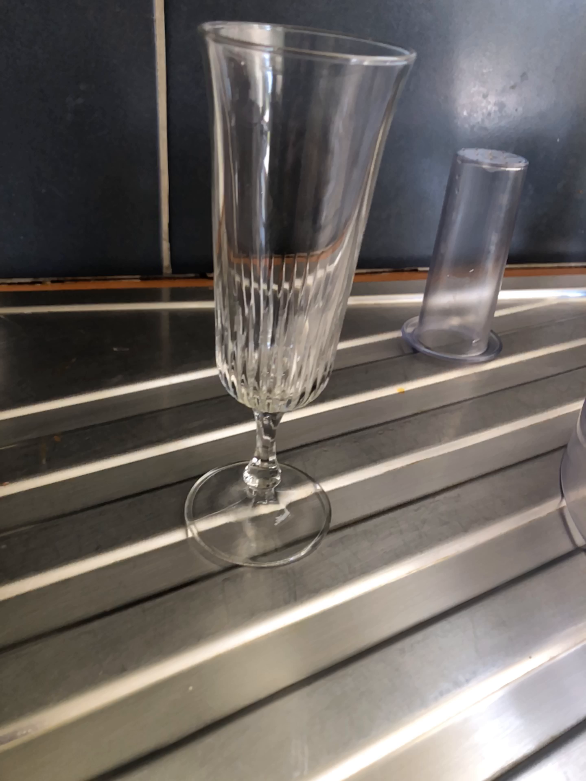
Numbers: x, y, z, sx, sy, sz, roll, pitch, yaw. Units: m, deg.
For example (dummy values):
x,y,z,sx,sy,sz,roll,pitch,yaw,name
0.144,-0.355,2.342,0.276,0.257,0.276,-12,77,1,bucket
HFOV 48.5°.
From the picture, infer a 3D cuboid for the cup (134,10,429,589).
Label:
x,y,z,sx,sy,sz,roll,pitch,yaw,name
-0.006,-0.023,0.214,0.060,0.169,0.060,4,33,-3,cup
